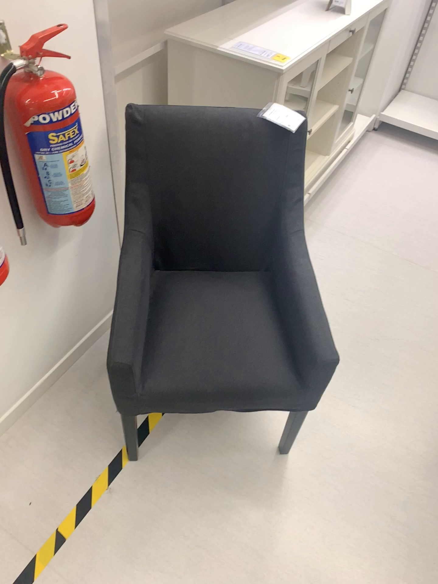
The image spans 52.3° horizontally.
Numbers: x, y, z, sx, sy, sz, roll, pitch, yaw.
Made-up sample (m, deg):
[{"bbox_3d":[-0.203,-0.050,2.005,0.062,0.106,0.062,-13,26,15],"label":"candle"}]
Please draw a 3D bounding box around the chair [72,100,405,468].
[{"bbox_3d":[-0.010,0.028,1.357,0.610,0.917,0.632,0,47,-6],"label":"chair"}]
